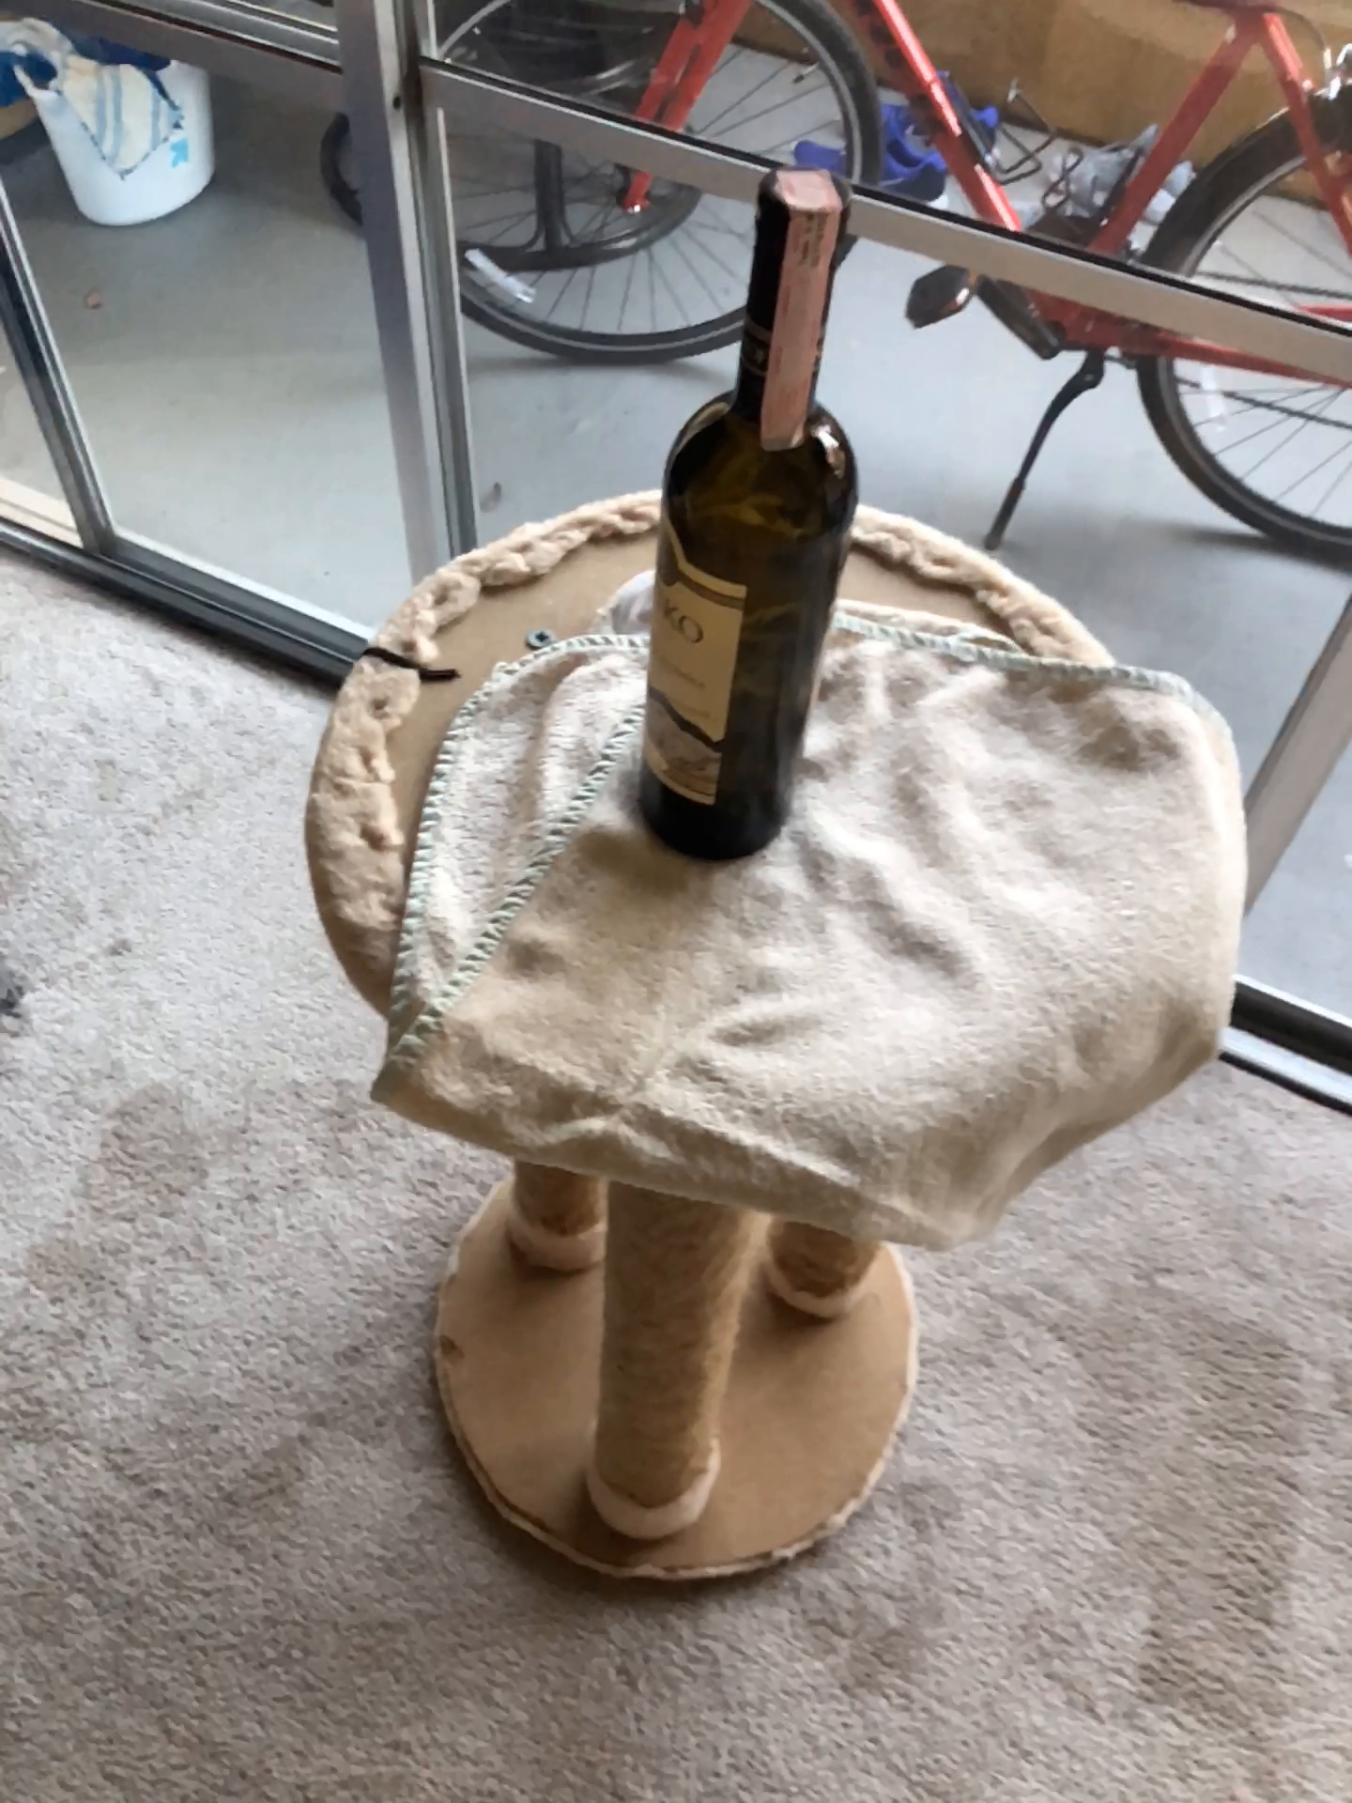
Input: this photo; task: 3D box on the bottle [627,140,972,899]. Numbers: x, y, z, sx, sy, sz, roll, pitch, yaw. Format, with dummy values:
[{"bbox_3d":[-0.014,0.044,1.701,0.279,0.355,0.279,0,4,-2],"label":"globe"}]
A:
[{"bbox_3d":[0.030,-0.118,0.536,0.080,0.269,0.080,1,53,-2],"label":"bottle"}]
